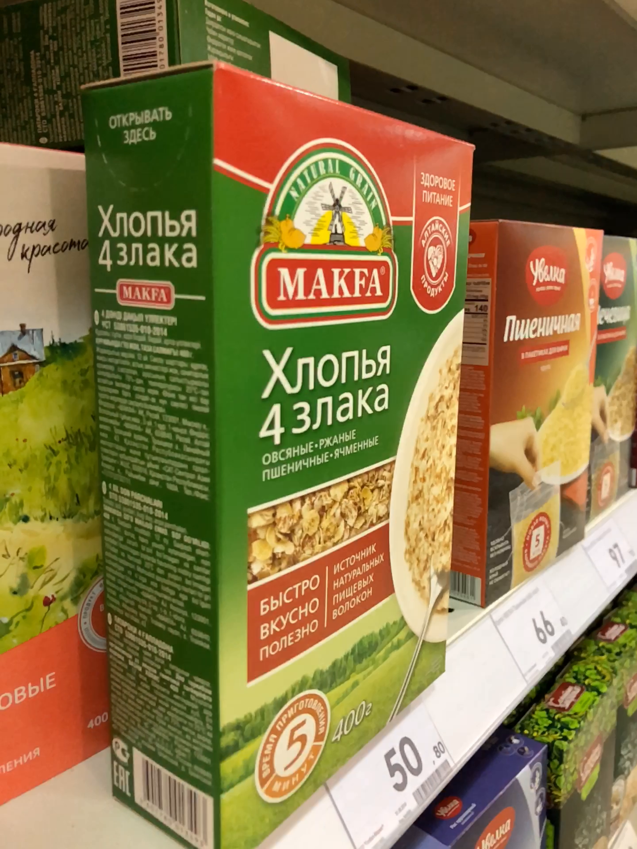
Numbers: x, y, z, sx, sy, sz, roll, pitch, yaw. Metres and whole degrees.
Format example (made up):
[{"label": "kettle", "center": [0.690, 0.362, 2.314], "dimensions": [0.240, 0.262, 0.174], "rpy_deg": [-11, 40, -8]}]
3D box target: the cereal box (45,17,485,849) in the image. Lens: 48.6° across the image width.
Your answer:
[{"label": "cereal box", "center": [-0.005, 0.007, 0.231], "dimensions": [0.050, 0.209, 0.140], "rpy_deg": [10, 15, 36]}]
